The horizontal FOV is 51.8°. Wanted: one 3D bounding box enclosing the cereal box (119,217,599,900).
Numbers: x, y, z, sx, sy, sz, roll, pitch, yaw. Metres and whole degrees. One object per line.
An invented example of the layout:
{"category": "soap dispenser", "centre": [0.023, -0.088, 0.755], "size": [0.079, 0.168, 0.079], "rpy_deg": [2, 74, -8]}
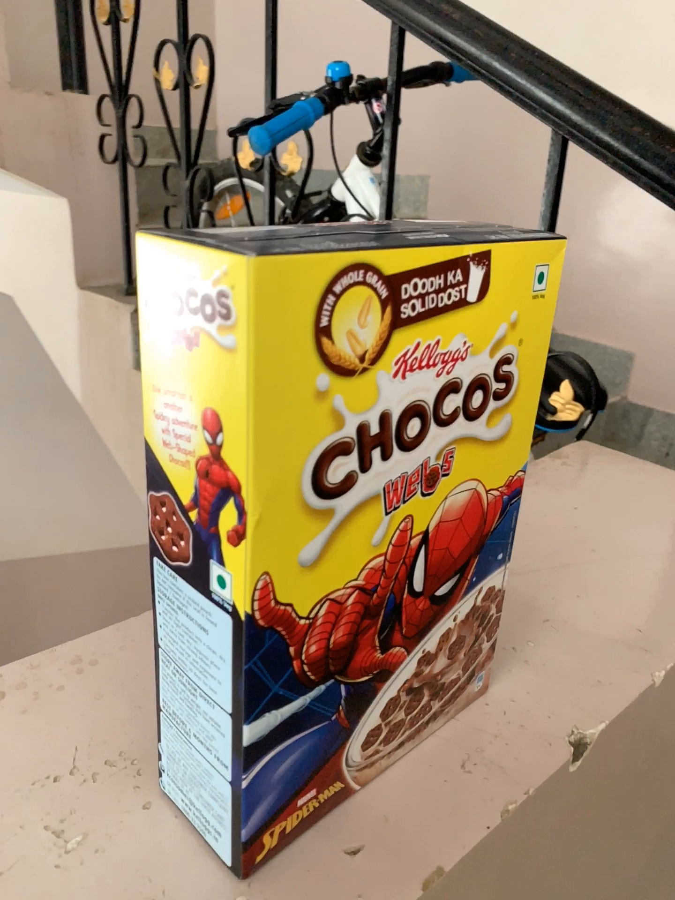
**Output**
{"category": "cereal box", "centre": [0.015, 0.031, 0.311], "size": [0.191, 0.248, 0.070], "rpy_deg": [-17, 30, -41]}
